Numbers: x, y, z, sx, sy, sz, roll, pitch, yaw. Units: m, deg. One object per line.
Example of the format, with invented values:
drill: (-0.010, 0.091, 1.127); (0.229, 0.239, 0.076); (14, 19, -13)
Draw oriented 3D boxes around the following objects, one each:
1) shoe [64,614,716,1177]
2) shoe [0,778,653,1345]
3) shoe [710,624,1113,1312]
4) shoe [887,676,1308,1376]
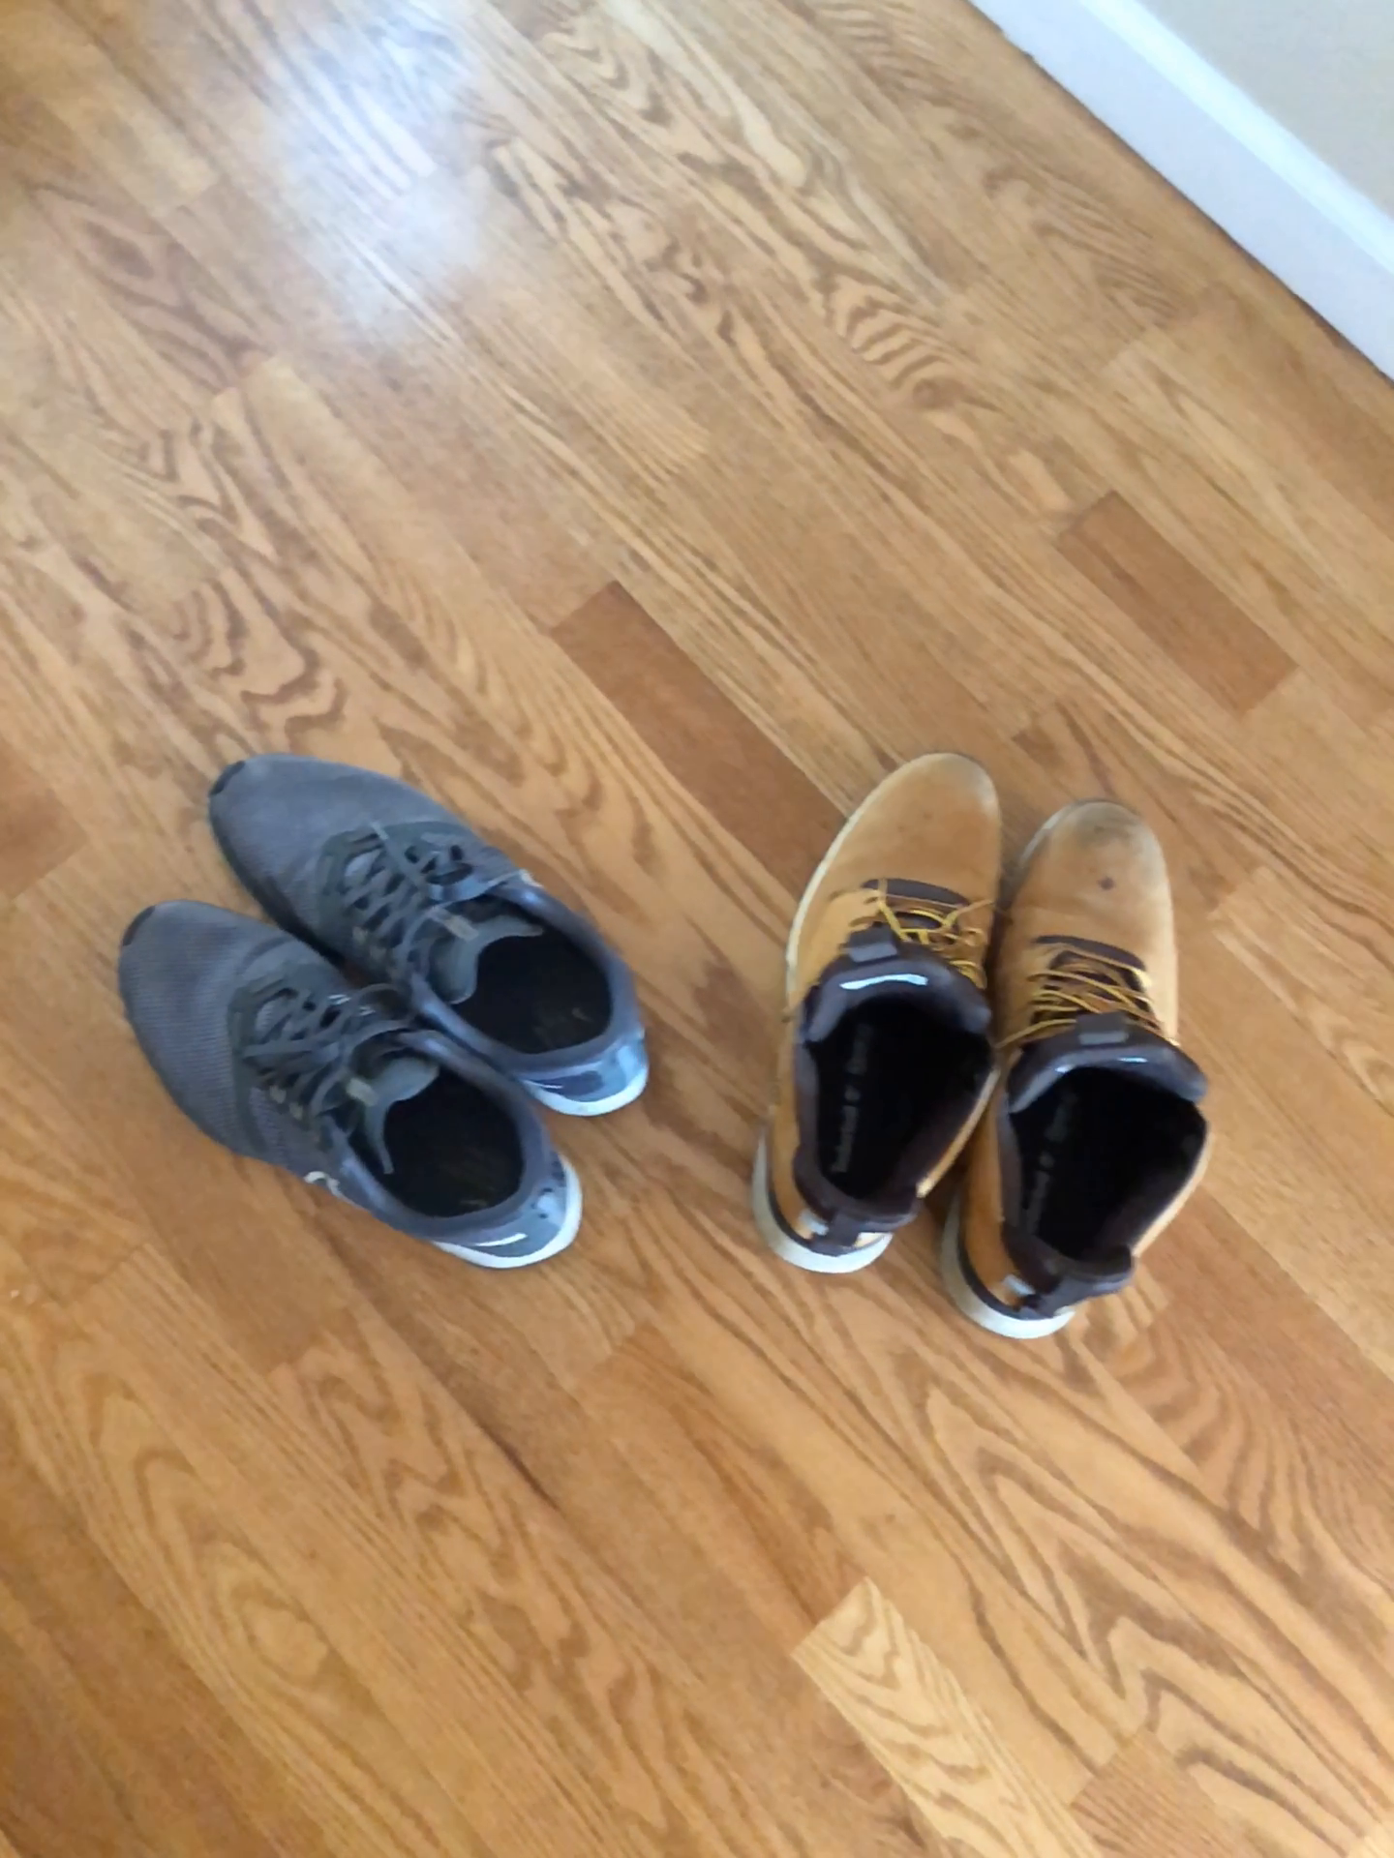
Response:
shoe: (-0.168, -0.017, 0.869); (0.330, 0.100, 0.140); (34, 76, 6)
shoe: (-0.196, 0.075, 0.842); (0.320, 0.100, 0.140); (34, 76, 6)
shoe: (0.110, 0.027, 0.809); (0.130, 0.140, 0.320); (14, 75, 1)
shoe: (0.207, 0.054, 0.801); (0.130, 0.140, 0.320); (14, 75, 1)
